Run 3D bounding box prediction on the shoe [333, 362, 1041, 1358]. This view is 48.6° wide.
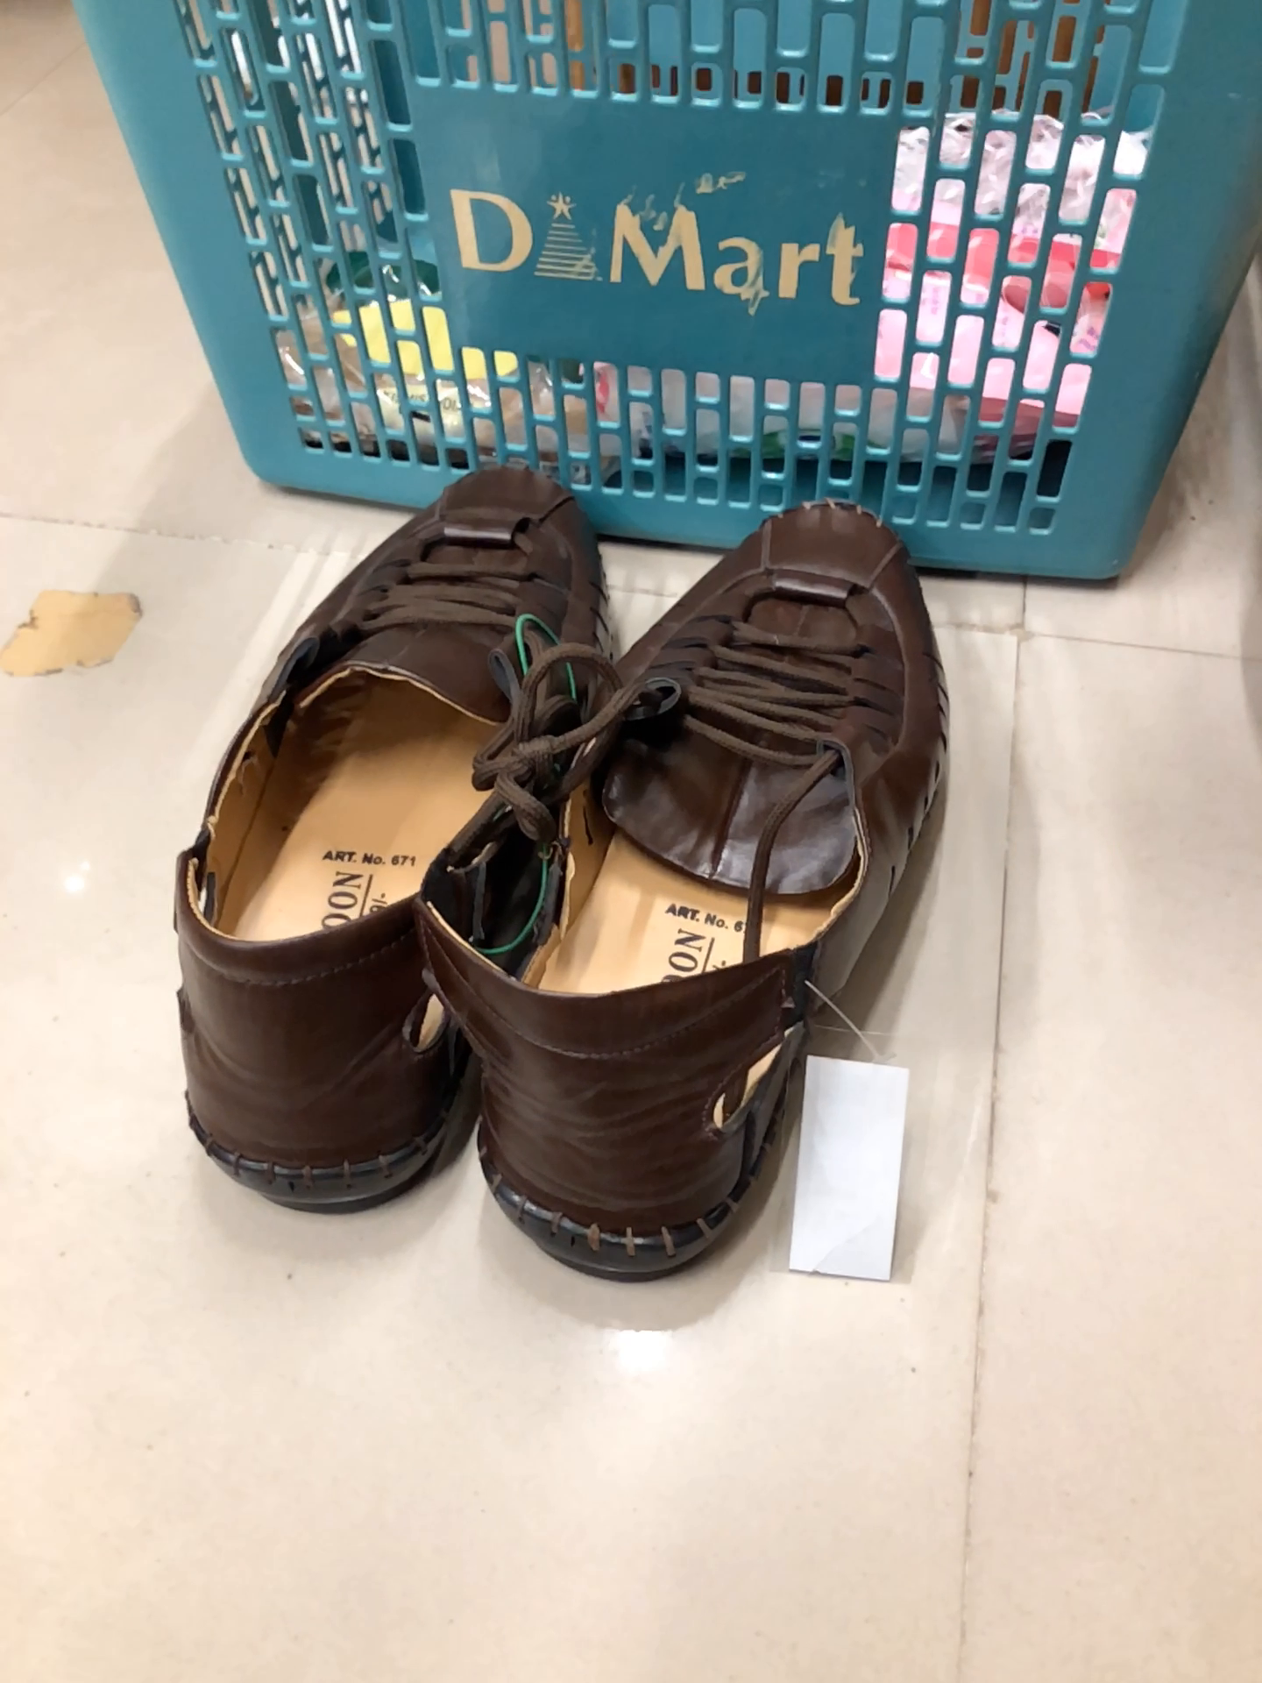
[{"bbox_3d":[0.034,-0.015,0.409,0.112,0.101,0.273,13,52,14],"label":"shoe"}]

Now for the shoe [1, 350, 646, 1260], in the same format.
[{"bbox_3d":[-0.066,-0.029,0.427,0.107,0.101,0.273,4,50,6],"label":"shoe"}]
